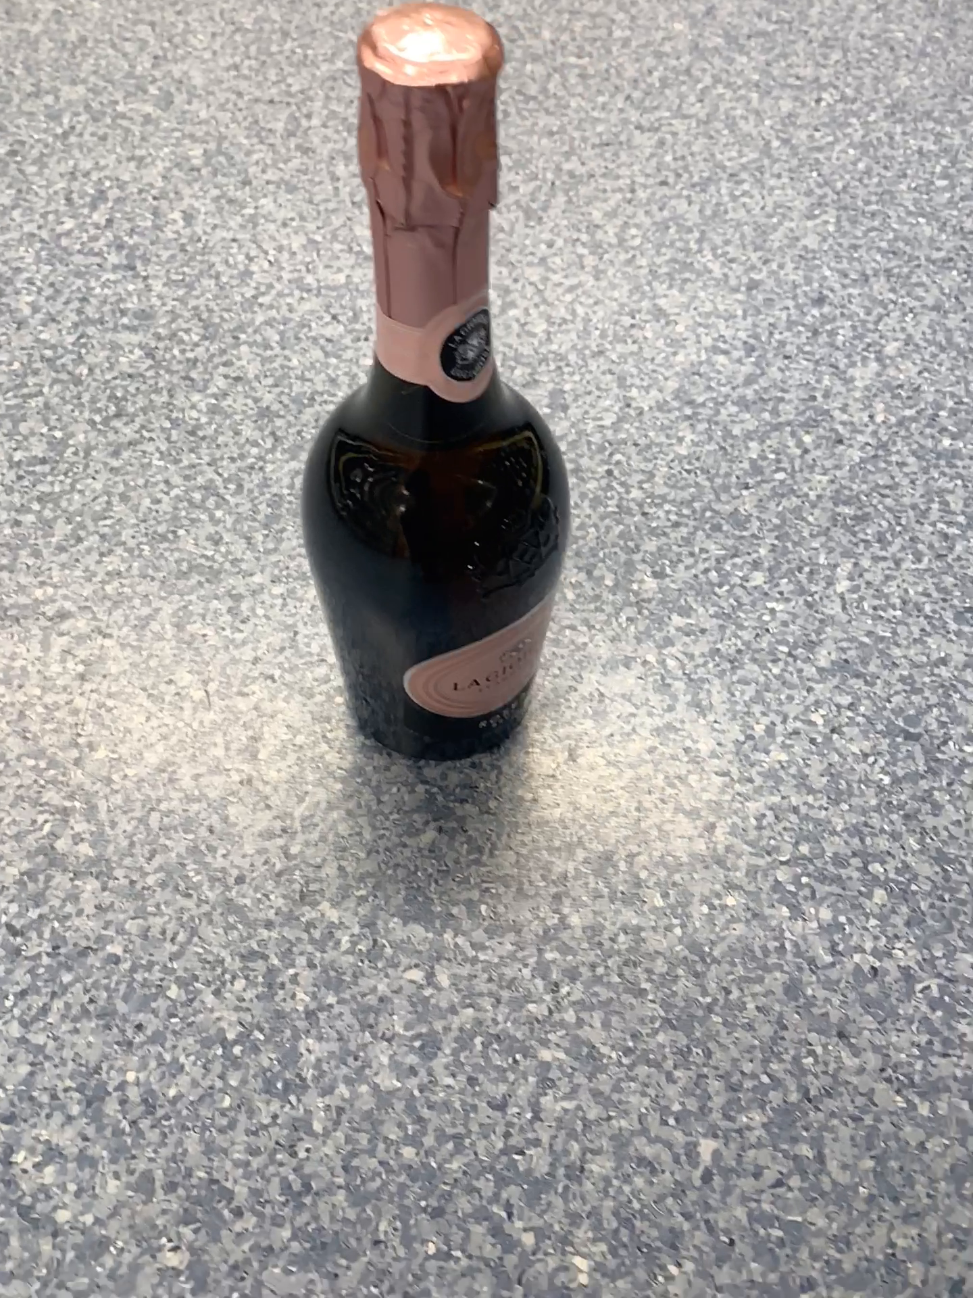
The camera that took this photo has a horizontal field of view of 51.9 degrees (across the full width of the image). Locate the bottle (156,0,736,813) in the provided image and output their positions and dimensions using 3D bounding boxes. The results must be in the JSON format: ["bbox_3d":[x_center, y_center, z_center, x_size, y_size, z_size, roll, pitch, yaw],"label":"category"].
[{"bbox_3d":[-0.012,-0.056,0.324,0.094,0.269,0.079,-35,65,-22],"label":"bottle"}]
